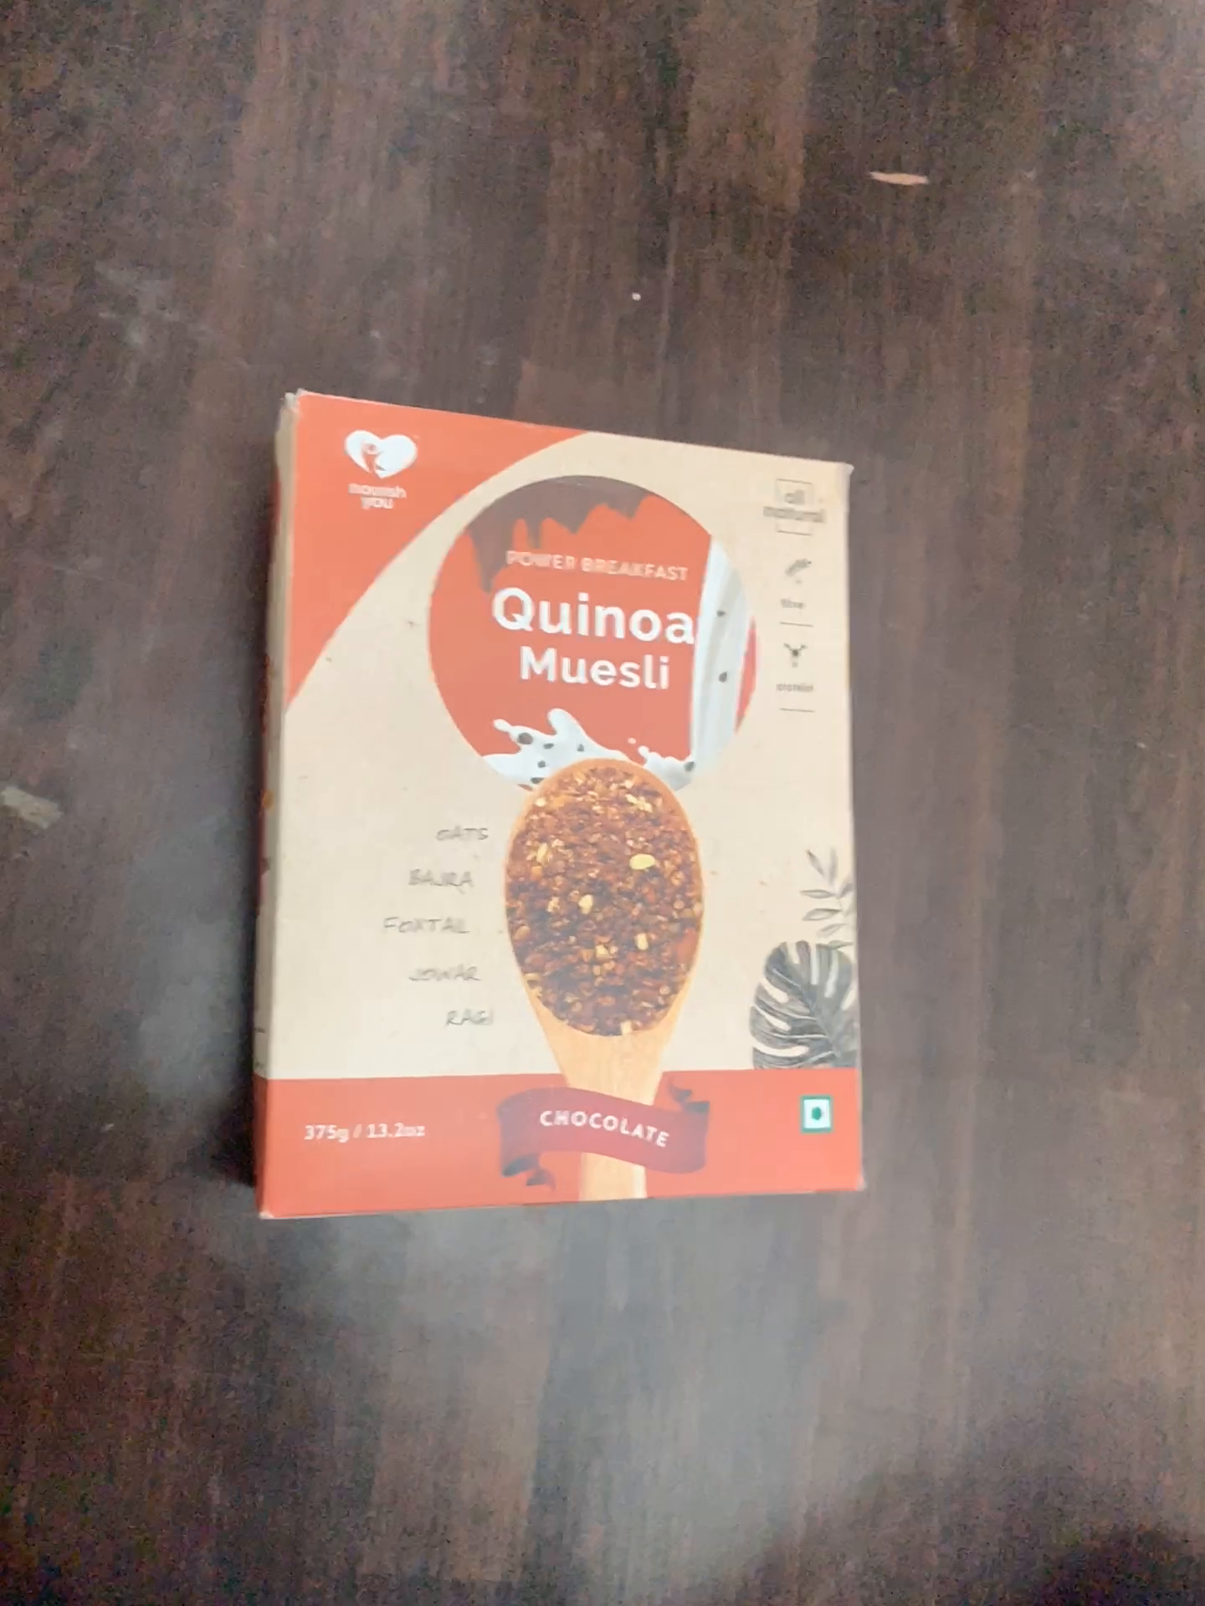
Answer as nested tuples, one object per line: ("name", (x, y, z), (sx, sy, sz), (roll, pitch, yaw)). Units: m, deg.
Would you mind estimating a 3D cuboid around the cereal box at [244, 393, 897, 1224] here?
("cereal box", (-0.011, 0.005, 0.365), (0.170, 0.070, 0.210), (3, 80, -16))
